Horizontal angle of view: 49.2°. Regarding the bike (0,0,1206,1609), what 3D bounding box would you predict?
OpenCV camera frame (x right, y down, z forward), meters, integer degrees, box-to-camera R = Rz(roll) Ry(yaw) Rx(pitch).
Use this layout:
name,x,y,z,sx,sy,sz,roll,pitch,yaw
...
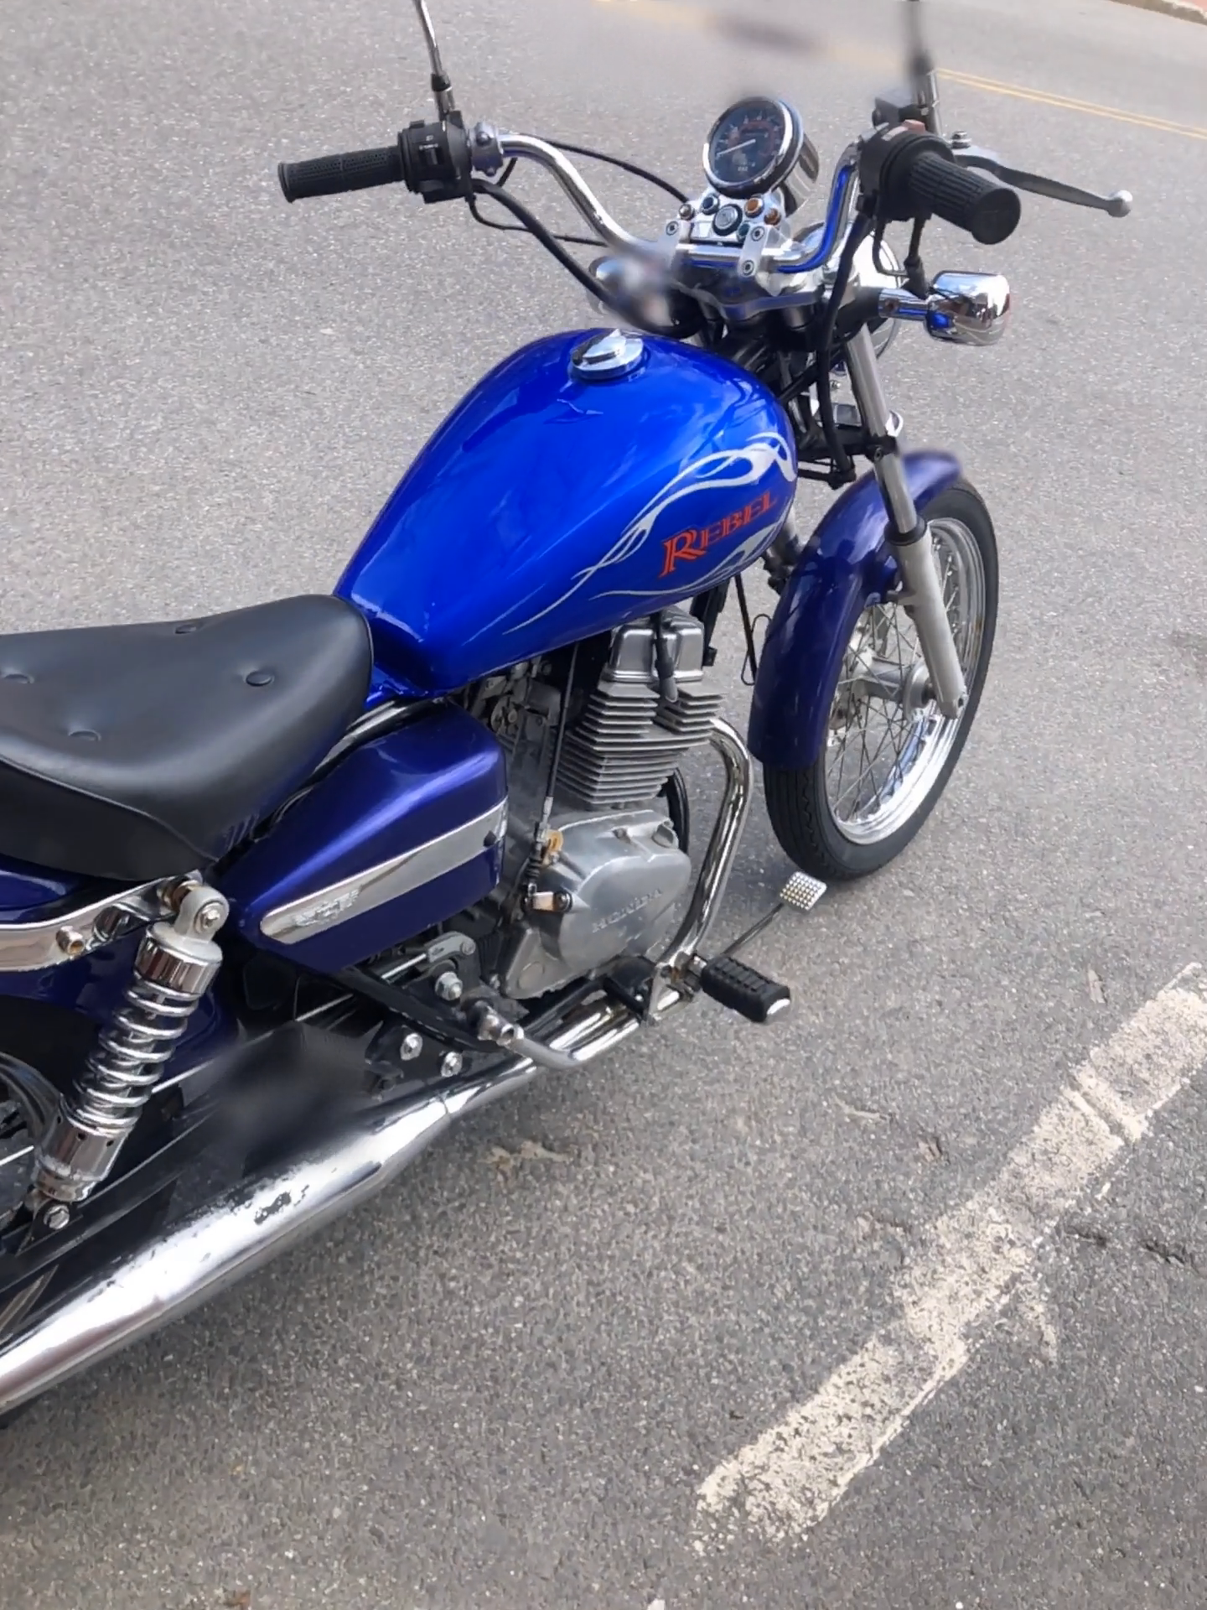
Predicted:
name,x,y,z,sx,sy,sz,roll,pitch,yaw
bike,-0.165,-0.247,1.335,0.789,1.036,1.918,37,48,28
